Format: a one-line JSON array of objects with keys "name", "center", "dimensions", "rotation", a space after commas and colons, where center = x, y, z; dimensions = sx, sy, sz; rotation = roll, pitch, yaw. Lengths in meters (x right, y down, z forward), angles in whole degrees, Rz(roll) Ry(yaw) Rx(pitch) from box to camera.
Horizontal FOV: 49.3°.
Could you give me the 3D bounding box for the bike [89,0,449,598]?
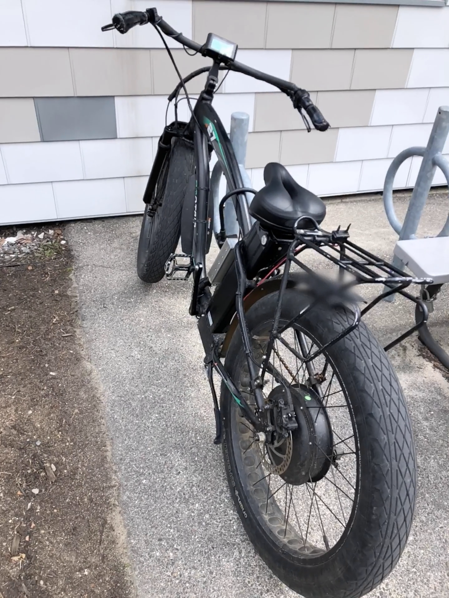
[{"name": "bike", "center": [0.129, -0.306, 1.719], "dimensions": [0.878, 1.170, 2.122], "rotation": [-8, 41, -16]}]
